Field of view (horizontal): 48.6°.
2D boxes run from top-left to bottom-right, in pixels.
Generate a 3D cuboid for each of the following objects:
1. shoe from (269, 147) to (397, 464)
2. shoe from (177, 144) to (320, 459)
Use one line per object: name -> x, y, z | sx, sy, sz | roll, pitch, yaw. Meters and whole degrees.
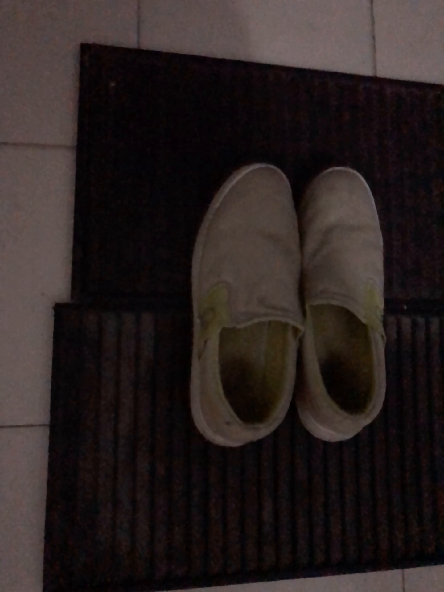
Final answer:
shoe -> 0.125, 0.012, 0.563 | 0.110, 0.090, 0.330 | 5, 80, -10
shoe -> 0.027, 0.008, 0.520 | 0.120, 0.090, 0.300 | 5, 80, -10
